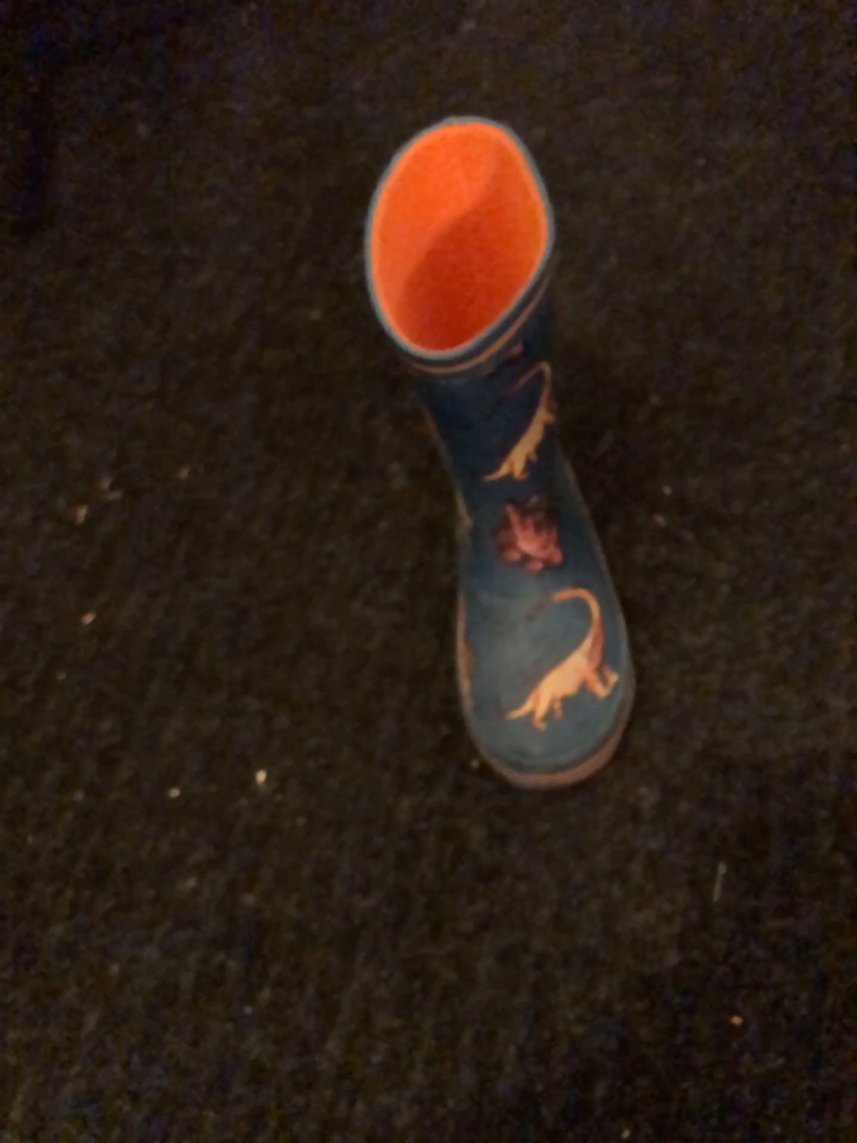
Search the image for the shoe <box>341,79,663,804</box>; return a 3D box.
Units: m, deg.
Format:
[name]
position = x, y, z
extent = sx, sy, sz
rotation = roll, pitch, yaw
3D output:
[shoe]
position = 0.031, -0.036, 0.364
extent = 0.080, 0.180, 0.191
rotation = -8, 59, 9
